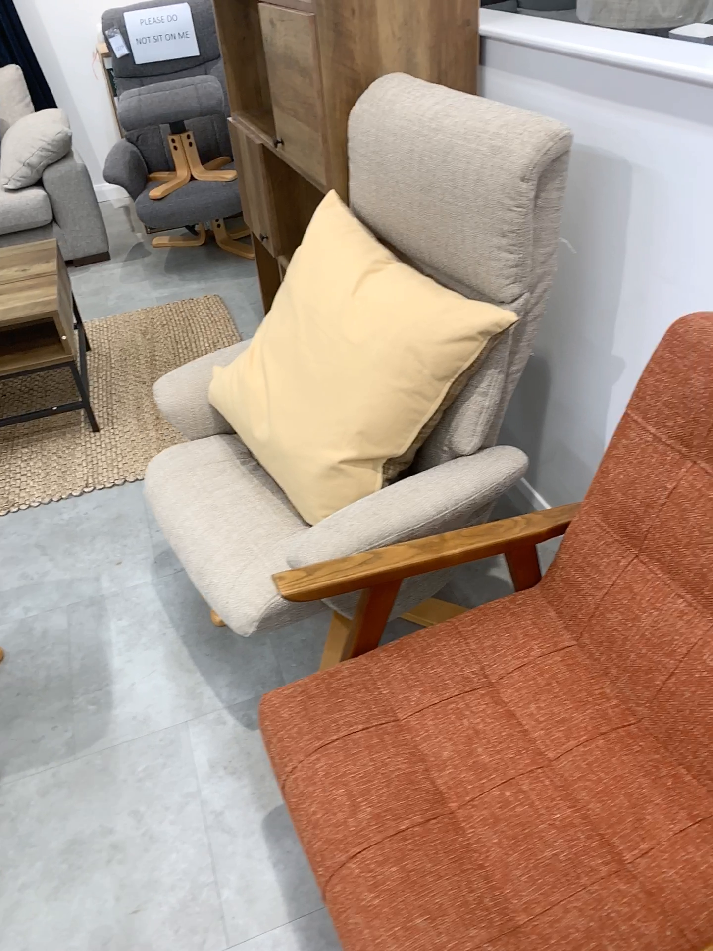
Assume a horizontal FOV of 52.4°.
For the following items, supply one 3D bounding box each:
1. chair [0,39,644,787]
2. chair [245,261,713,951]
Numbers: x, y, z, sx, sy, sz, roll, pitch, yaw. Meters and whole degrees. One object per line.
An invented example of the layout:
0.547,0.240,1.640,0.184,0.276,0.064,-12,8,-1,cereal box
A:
-0.095,-0.131,1.408,0.659,1.046,0.767,-24,47,-23,chair
0.253,0.285,0.983,0.618,0.918,0.555,-13,37,-20,chair
